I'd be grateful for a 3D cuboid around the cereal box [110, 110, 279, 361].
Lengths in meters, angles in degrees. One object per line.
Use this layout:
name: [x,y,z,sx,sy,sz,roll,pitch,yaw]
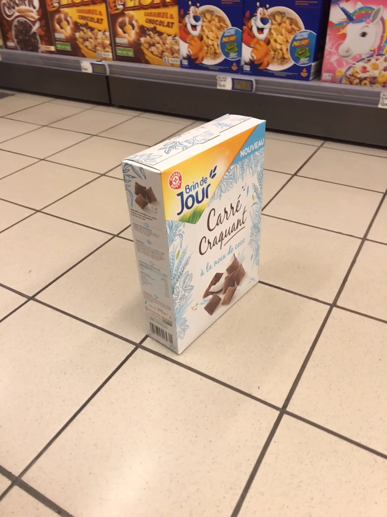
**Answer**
cereal box: [0.015,-0.032,0.527,0.070,0.239,0.201,24,43,34]
